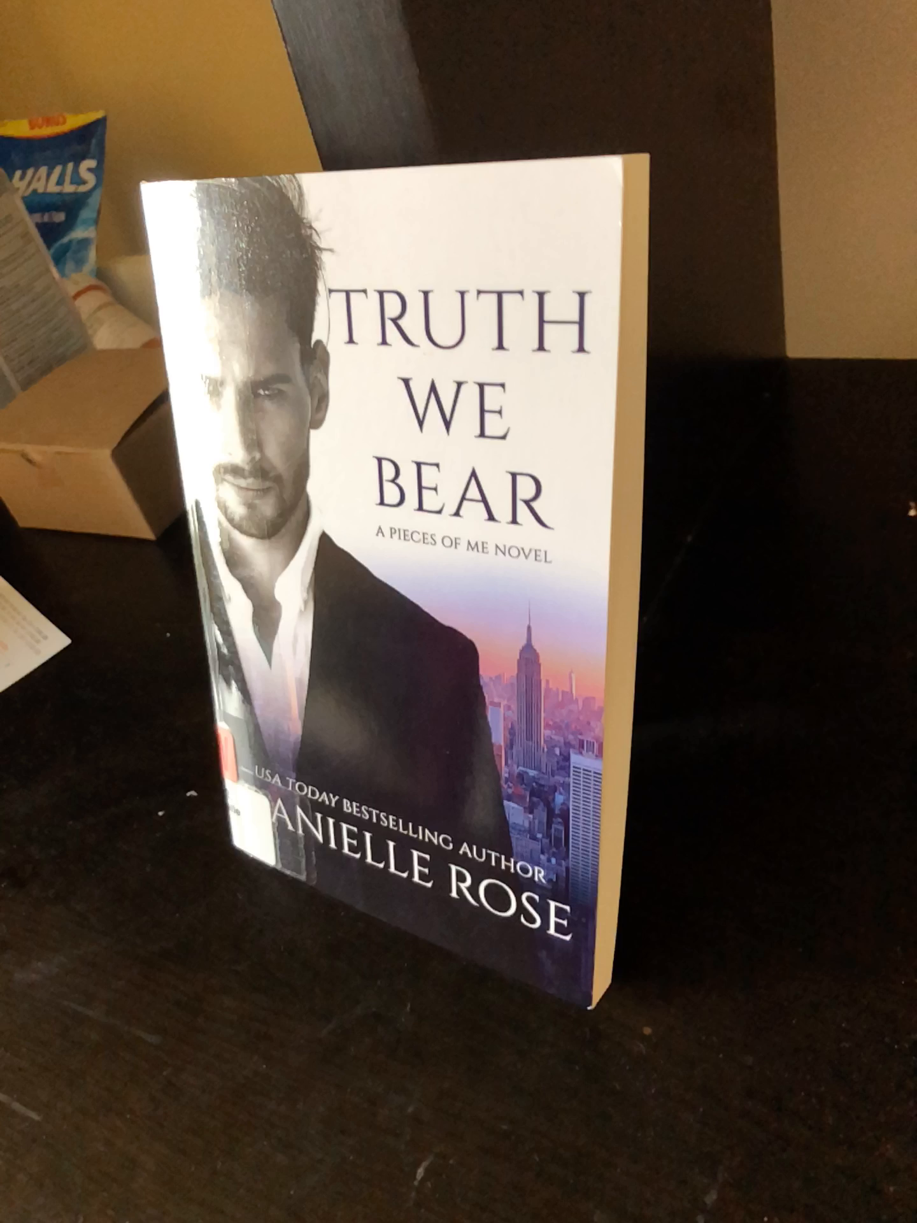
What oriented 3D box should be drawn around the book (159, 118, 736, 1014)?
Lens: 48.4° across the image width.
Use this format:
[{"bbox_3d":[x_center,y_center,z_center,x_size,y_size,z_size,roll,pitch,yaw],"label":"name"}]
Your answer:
[{"bbox_3d":[-0.008,-0.009,0.282,0.150,0.220,0.020,12,26,31],"label":"book"}]
